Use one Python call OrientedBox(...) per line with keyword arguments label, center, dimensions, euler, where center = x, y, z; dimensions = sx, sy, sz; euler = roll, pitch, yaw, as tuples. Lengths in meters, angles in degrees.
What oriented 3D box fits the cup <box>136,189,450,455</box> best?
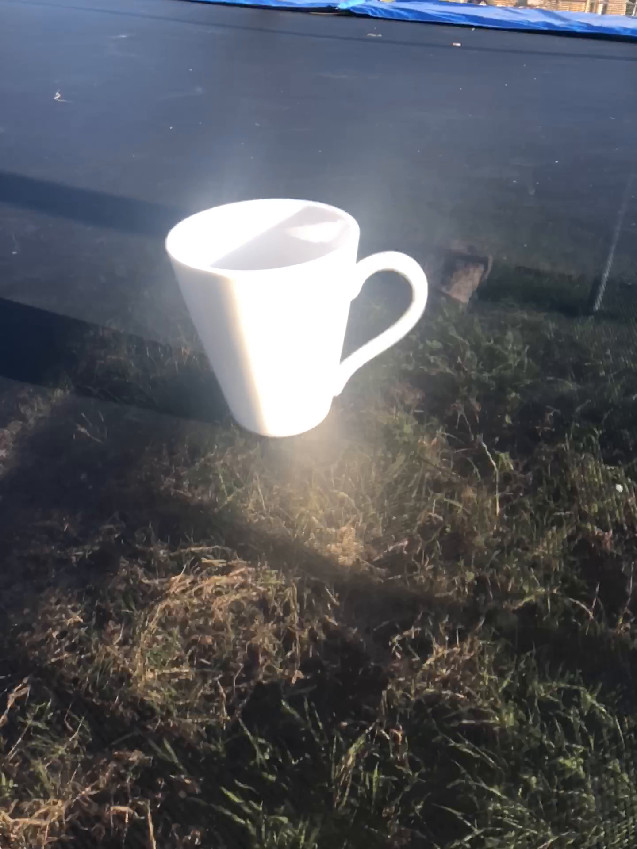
OrientedBox(label="cup", center=(-0.002, -0.054, 0.347), dimensions=(0.129, 0.094, 0.098), euler=(2, 35, 11))
